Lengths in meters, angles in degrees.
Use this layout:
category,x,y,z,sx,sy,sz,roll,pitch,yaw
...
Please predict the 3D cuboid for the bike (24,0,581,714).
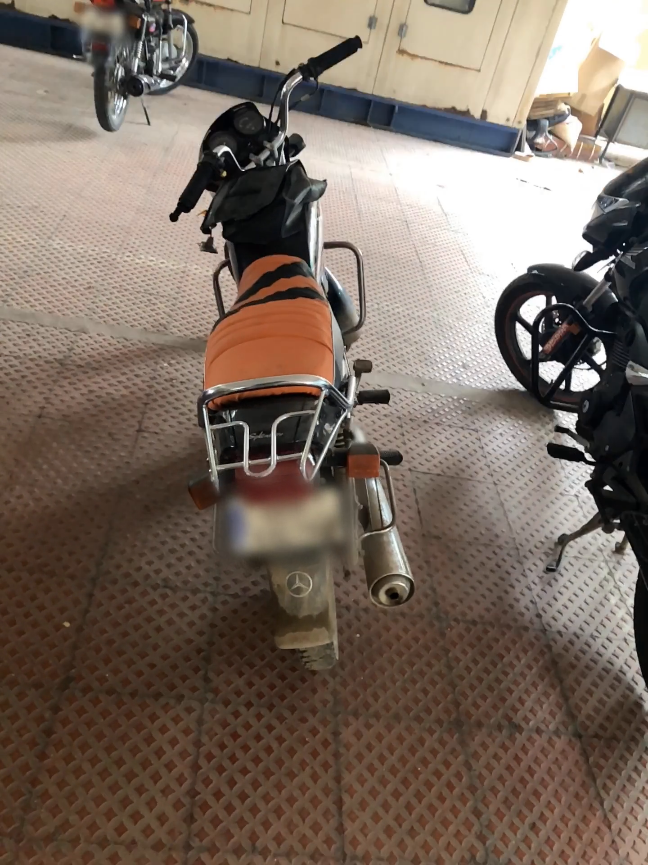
category,x,y,z,sx,sy,sz,roll,pitch,yaw
bike,-0.232,-0.273,1.742,0.688,1.123,1.410,5,36,-14
